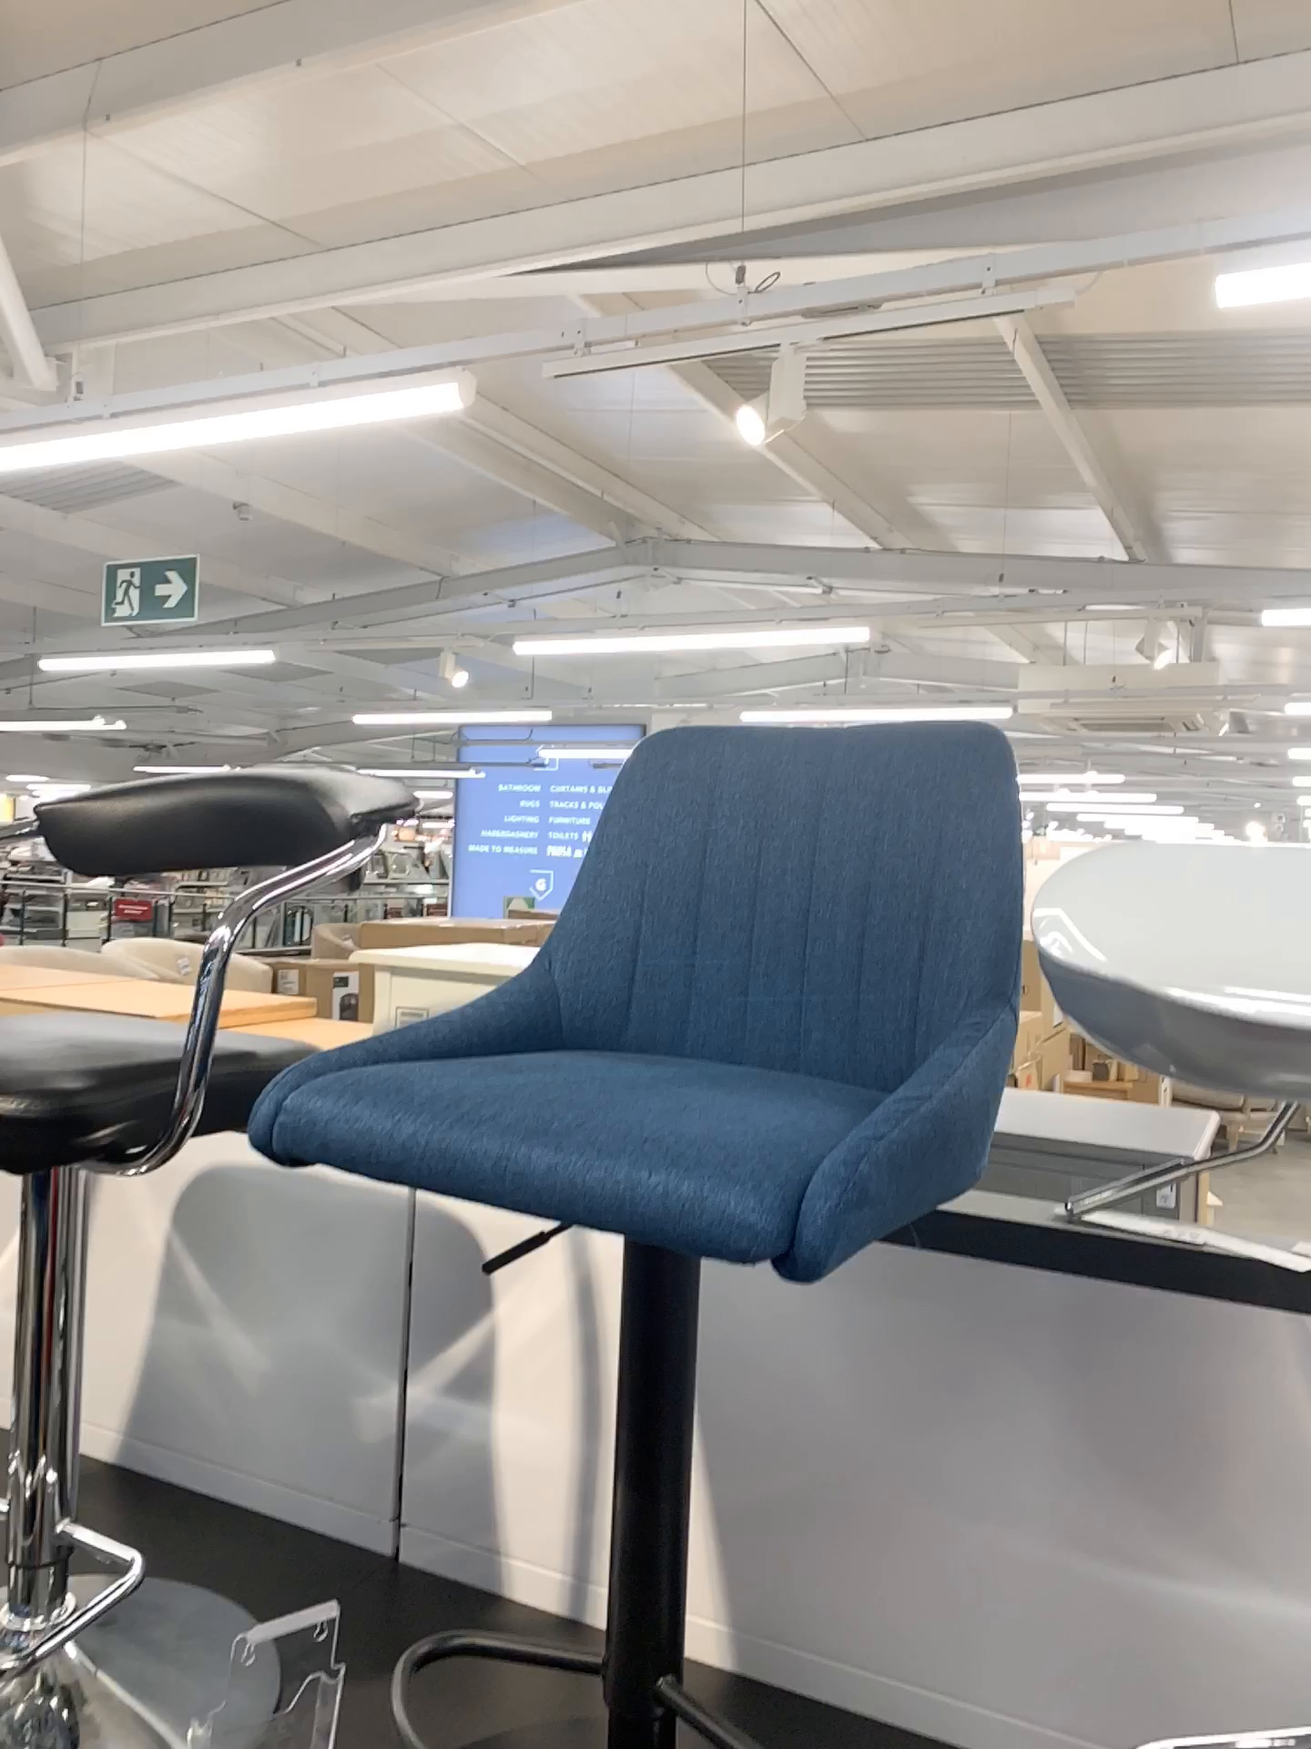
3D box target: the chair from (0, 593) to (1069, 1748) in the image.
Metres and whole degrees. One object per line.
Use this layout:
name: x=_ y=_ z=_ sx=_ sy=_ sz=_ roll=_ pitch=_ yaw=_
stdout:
chair: x=-0.043 y=0.297 z=0.956 sx=0.539 sy=0.872 sz=0.507 roll=2 pitch=-1 yaw=26

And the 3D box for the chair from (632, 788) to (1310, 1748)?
chair: x=0.275 y=0.352 z=0.704 sx=0.409 sy=0.762 sz=0.387 roll=2 pitch=-1 yaw=26
